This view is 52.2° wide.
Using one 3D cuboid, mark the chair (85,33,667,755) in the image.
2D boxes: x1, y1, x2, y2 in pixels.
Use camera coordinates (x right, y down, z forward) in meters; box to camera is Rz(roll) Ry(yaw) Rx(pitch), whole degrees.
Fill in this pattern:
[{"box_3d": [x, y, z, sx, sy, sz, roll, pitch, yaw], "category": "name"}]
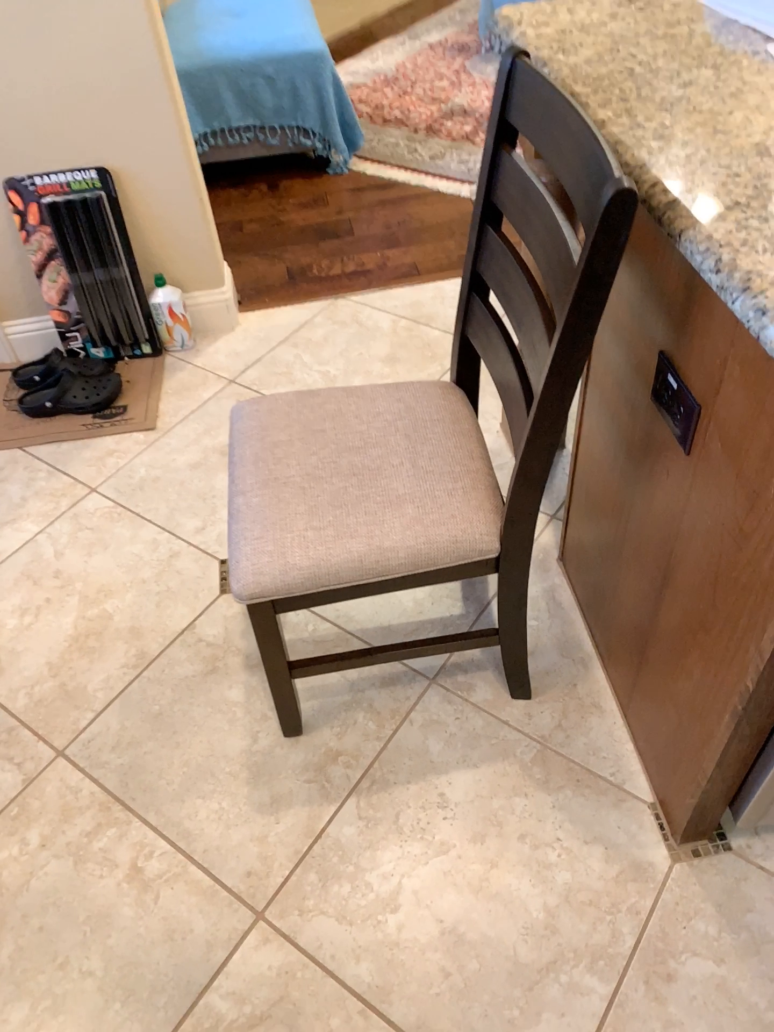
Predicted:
[{"box_3d": [-0.005, -0.112, 1.192, 0.524, 0.910, 0.469, -10, 47, -3], "category": "chair"}]
